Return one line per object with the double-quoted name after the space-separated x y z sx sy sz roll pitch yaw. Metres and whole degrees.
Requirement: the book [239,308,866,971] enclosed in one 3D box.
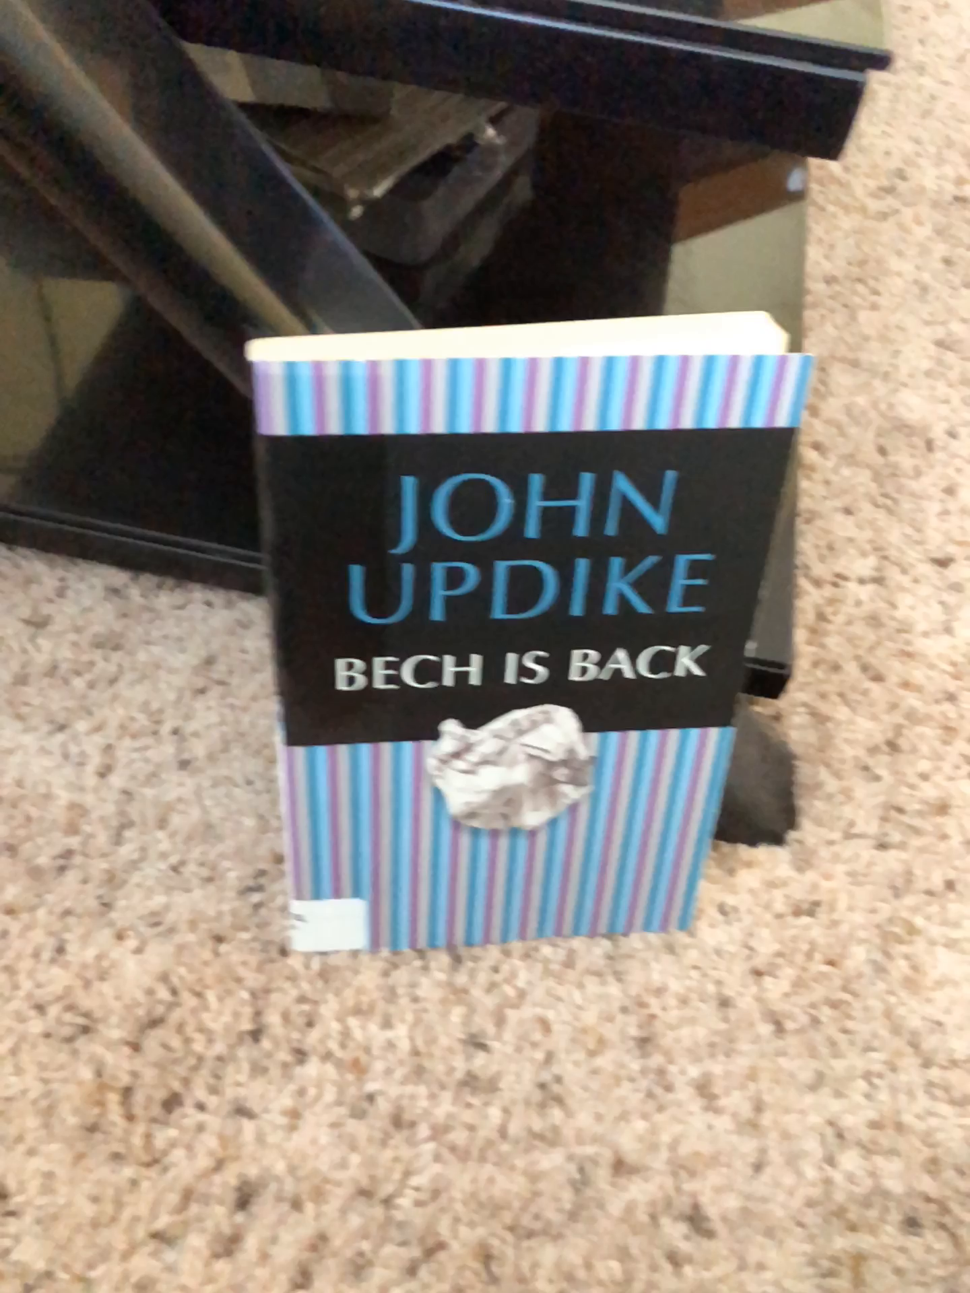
0.011 0.011 0.300 0.135 0.201 0.030 -4 39 -8 "book"
